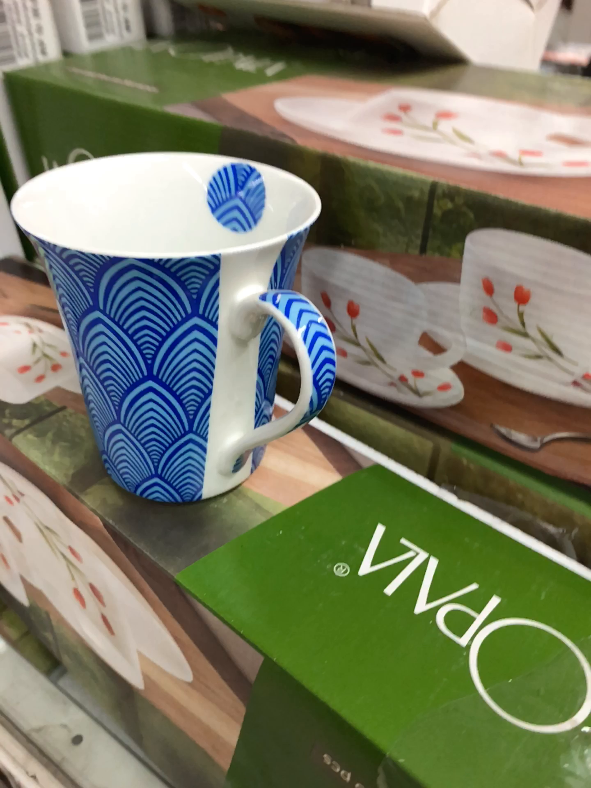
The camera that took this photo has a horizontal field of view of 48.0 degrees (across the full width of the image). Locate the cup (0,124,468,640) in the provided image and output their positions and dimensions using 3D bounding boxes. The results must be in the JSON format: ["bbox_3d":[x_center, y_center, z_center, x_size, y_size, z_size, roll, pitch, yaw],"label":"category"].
[{"bbox_3d":[-0.023,-0.013,0.207,0.110,0.099,0.080,31,48,34],"label":"cup"}]
